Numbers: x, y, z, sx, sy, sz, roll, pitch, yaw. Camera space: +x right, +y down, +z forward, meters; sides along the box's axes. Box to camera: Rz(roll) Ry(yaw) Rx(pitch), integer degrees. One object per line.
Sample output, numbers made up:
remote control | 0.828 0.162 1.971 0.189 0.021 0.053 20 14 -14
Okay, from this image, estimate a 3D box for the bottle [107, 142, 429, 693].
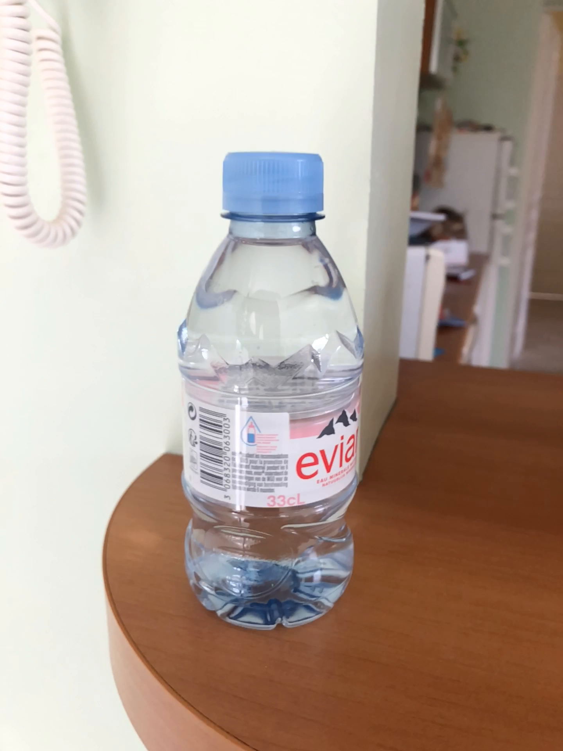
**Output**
bottle | -0.004 0.006 0.218 0.070 0.159 0.070 1 18 0
